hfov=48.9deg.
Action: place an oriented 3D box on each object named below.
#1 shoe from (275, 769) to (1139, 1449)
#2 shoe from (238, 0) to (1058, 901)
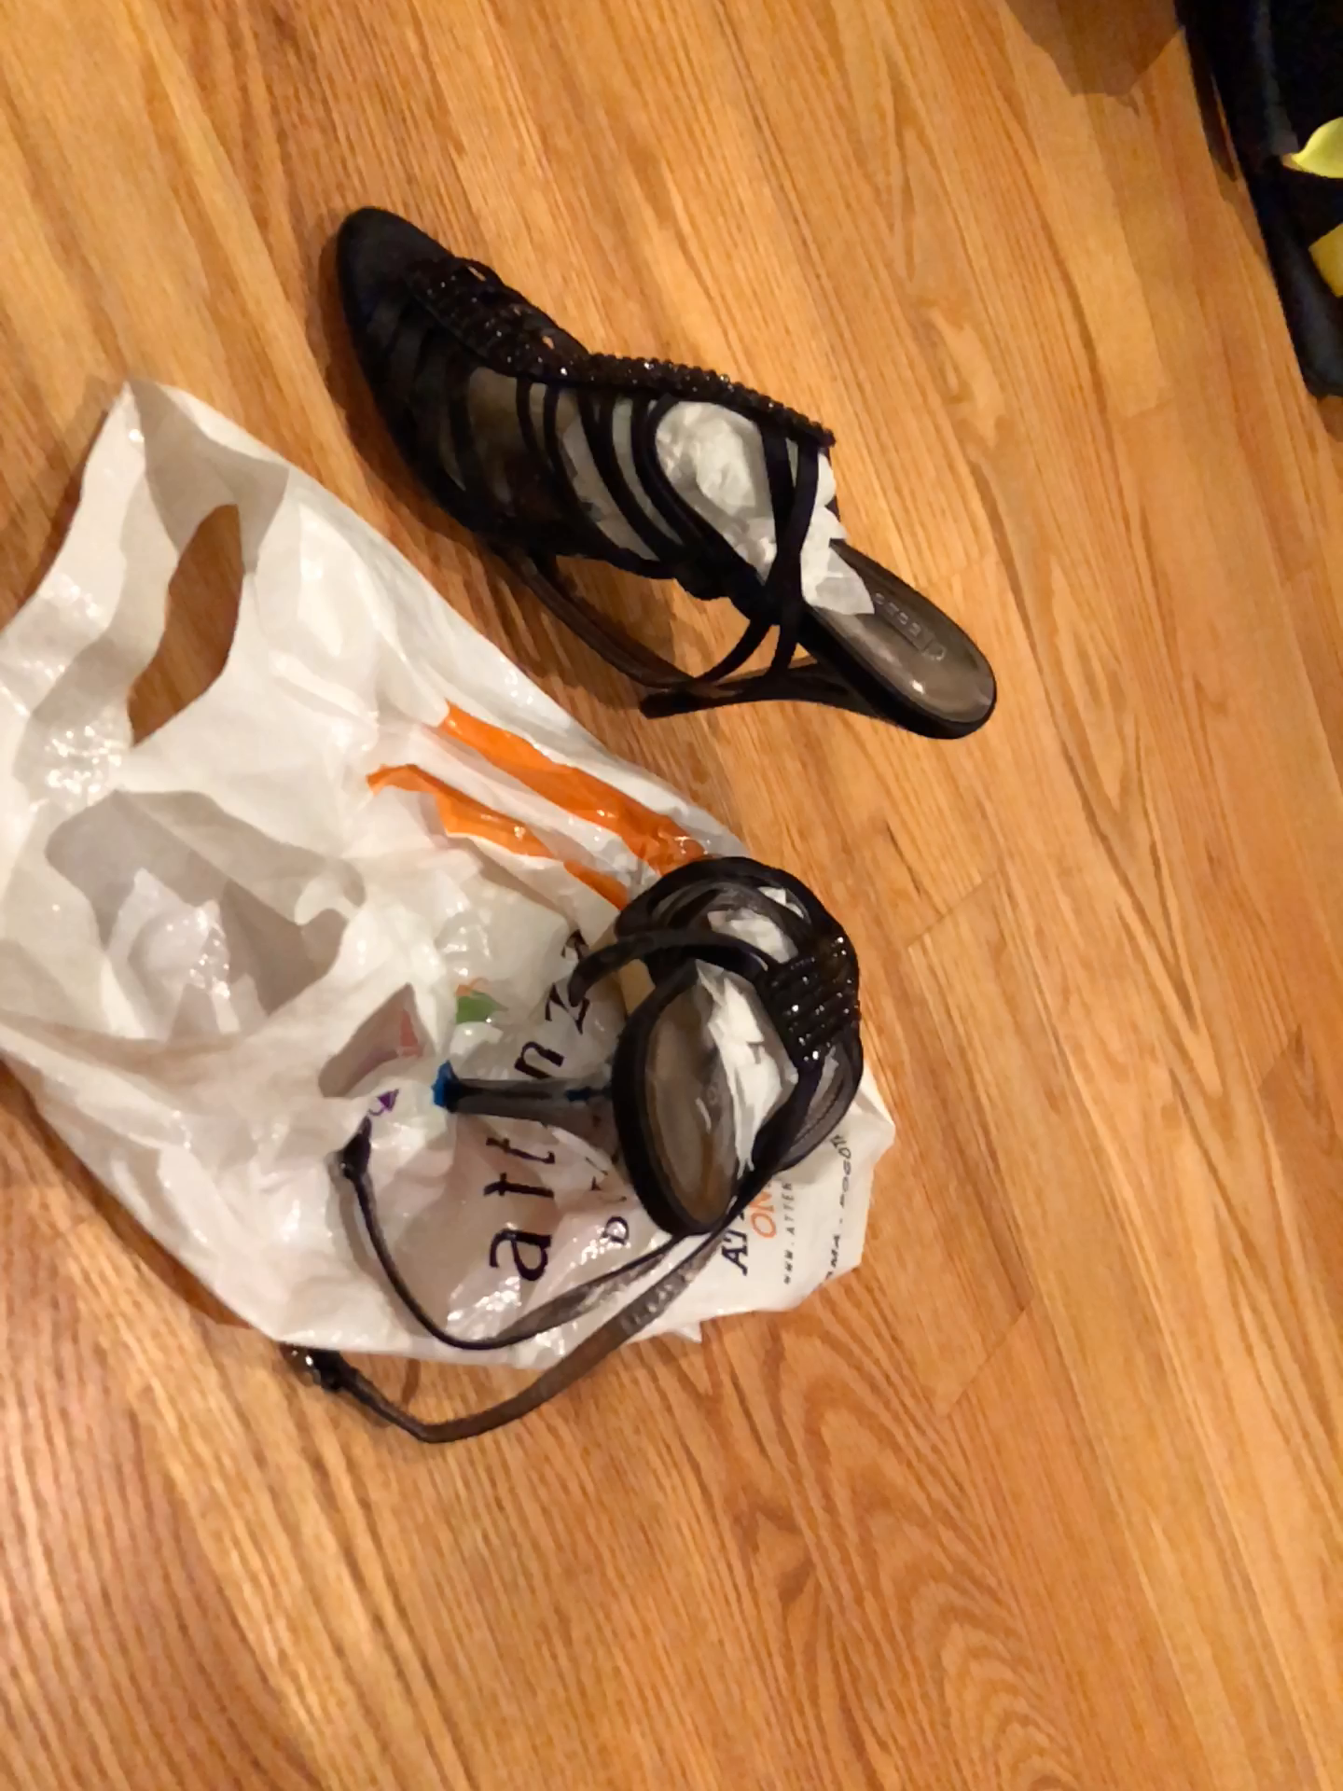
[{"bbox_3d":[0.024,0.046,0.414,0.218,0.112,0.092,-26,101,-47],"label":"shoe"},{"bbox_3d":[0.003,-0.117,0.428,0.217,0.112,0.091,55,47,-24],"label":"shoe"}]
